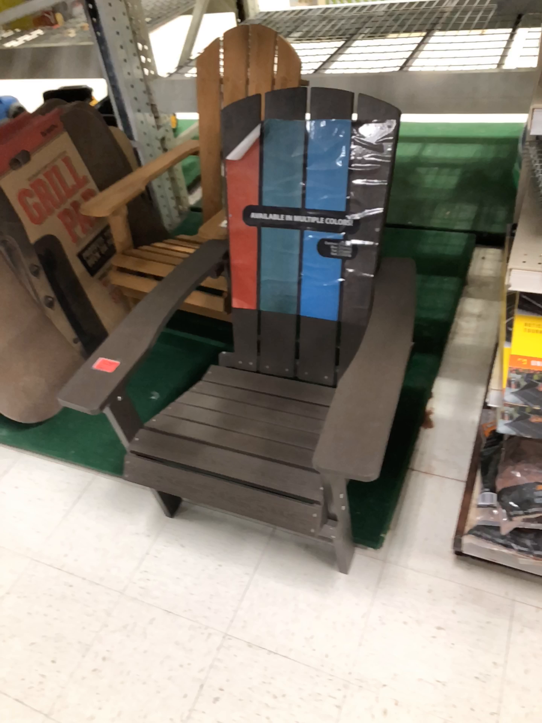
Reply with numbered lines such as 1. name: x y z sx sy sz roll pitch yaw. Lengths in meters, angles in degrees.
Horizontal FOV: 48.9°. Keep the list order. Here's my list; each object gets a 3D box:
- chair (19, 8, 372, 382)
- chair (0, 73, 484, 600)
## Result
1. chair: -0.137 -0.630 2.105 0.638 0.846 0.978 15 47 26
2. chair: 0.041 -0.134 1.491 0.718 0.816 0.919 11 45 22
